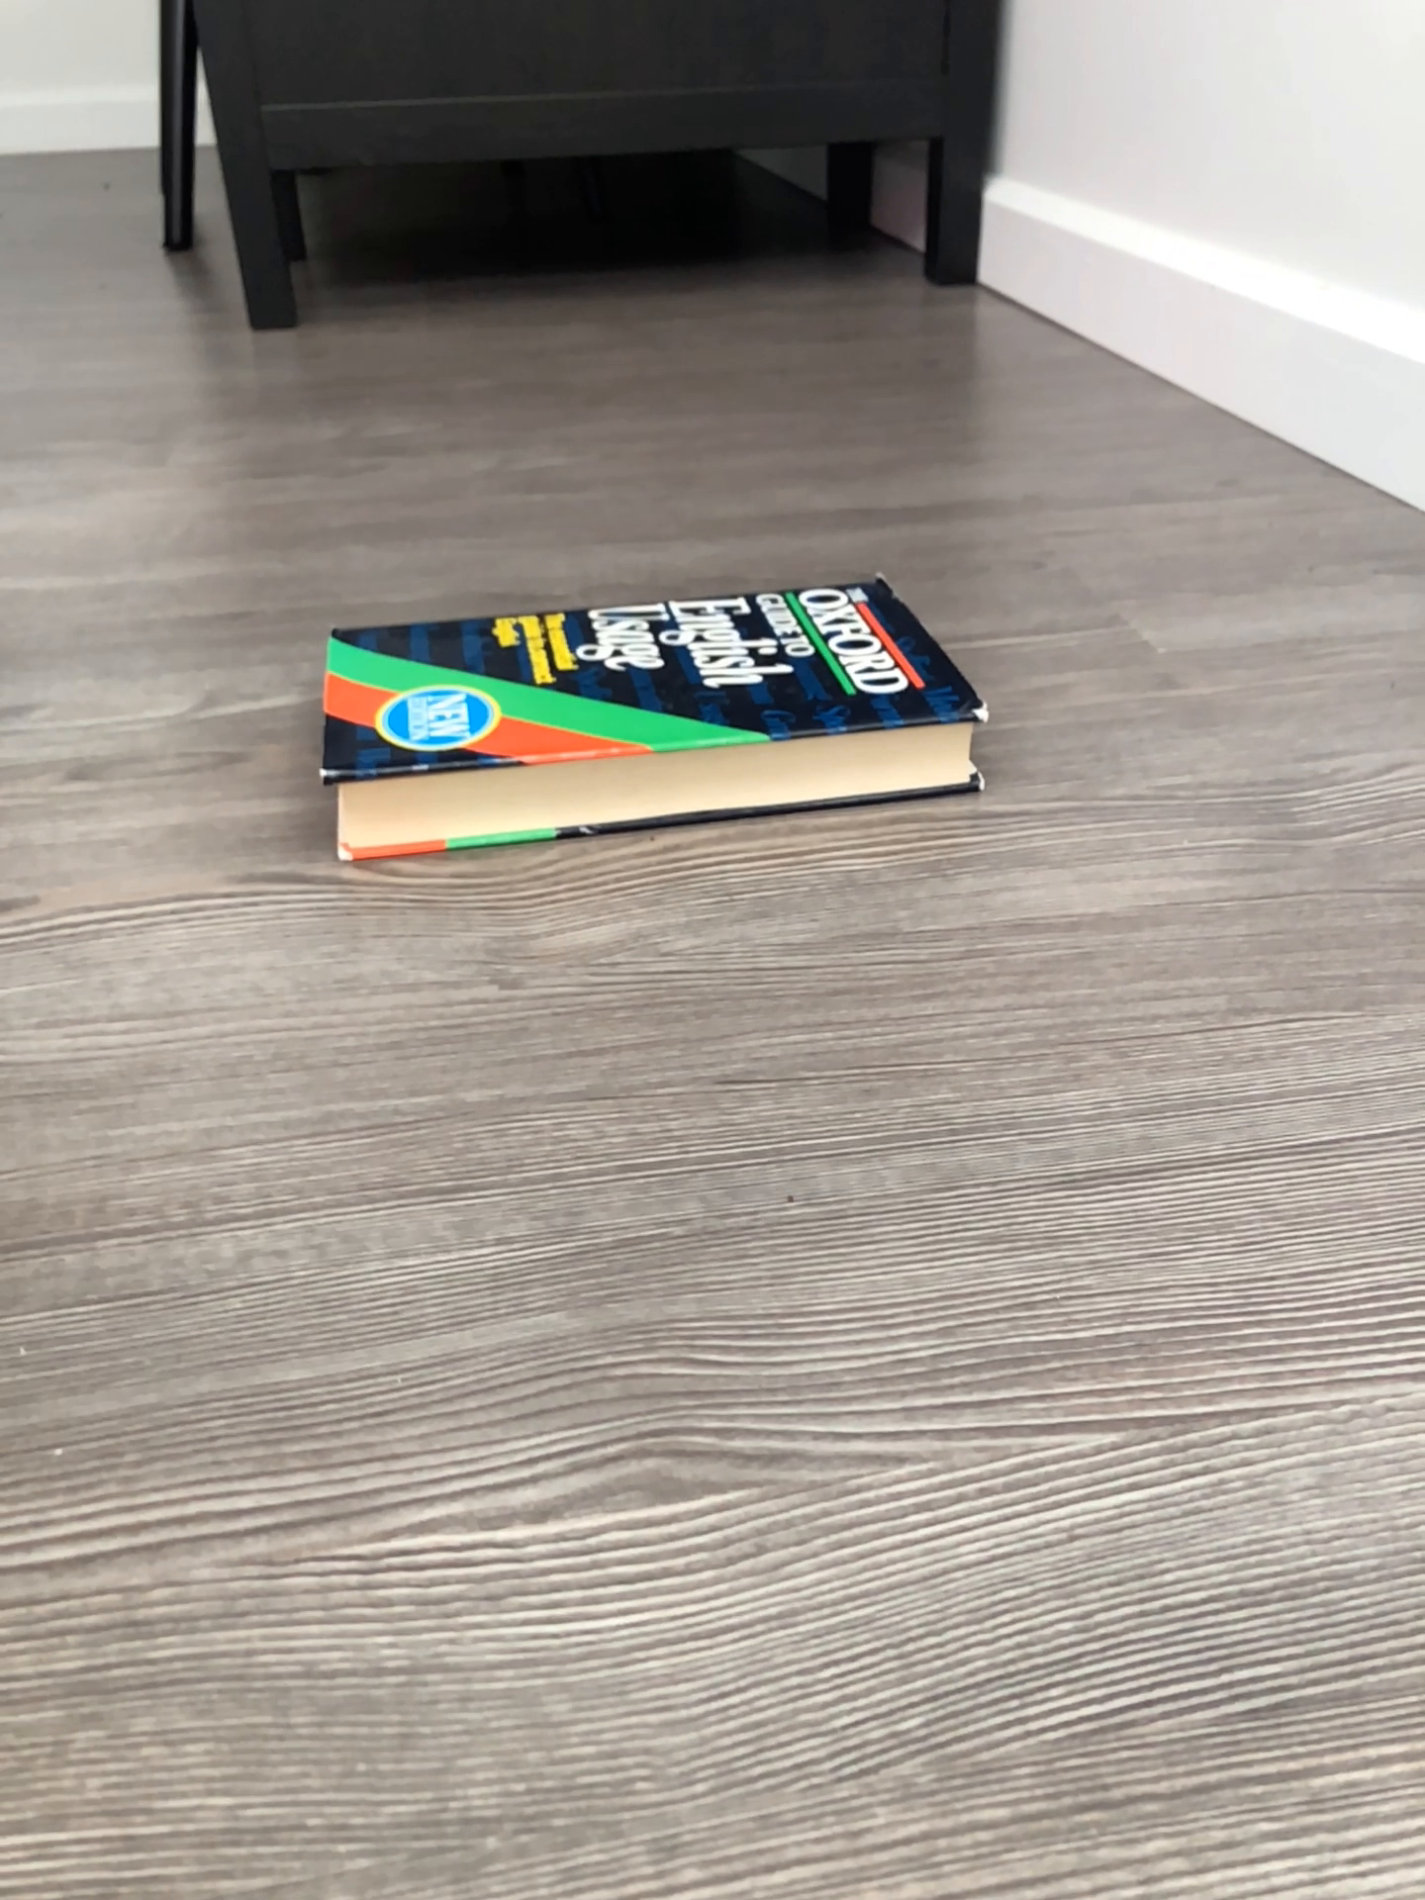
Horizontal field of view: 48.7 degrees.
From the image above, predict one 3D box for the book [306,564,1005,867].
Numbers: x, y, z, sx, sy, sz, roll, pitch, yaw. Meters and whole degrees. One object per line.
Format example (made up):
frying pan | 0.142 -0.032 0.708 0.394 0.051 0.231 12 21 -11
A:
book | -0.027 -0.094 0.584 0.230 0.035 0.151 -6 32 -8
